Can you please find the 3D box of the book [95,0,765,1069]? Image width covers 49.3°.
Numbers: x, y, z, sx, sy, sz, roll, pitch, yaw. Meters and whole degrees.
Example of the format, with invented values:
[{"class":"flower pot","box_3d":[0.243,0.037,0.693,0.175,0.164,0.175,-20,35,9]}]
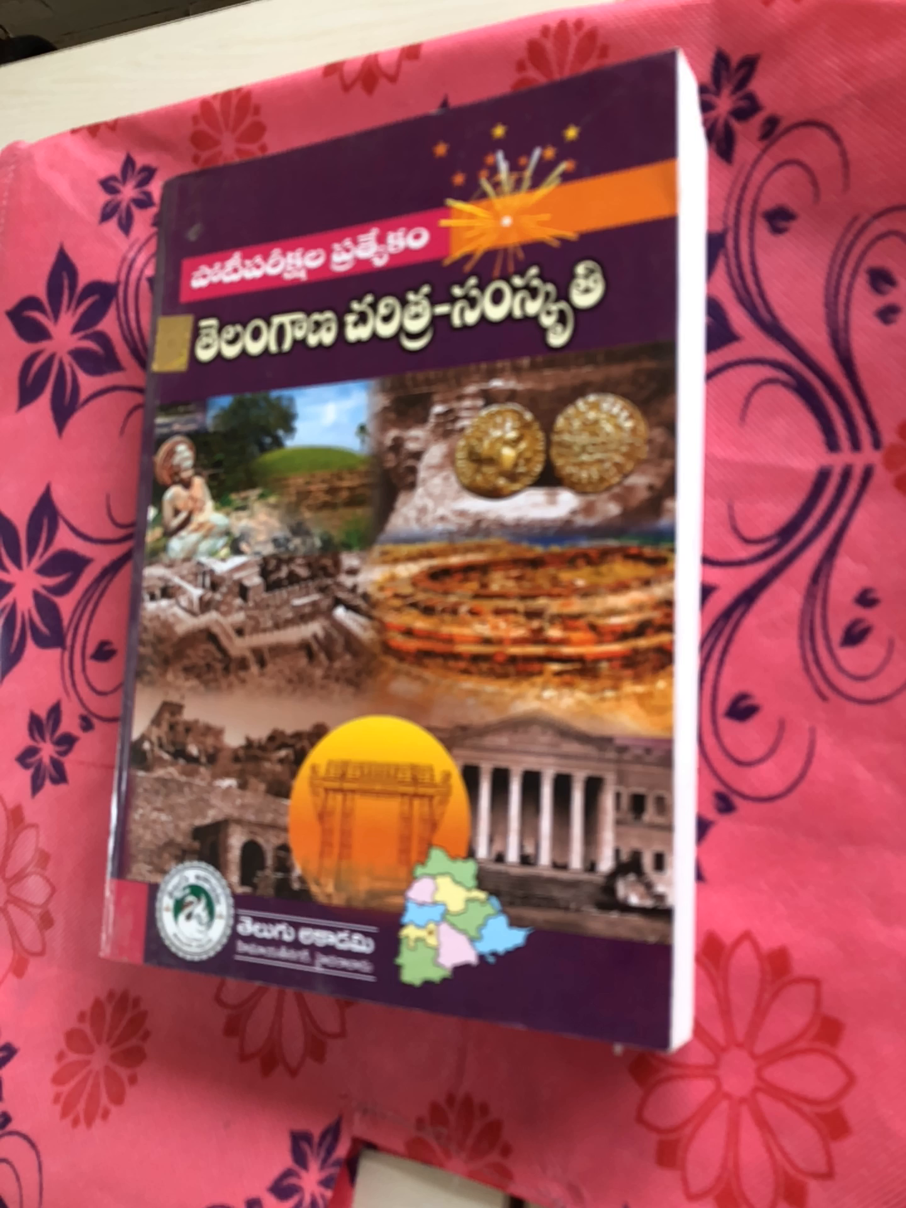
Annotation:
[{"class":"book","box_3d":[-0.008,-0.024,0.316,0.200,0.050,0.280,-1,82,24]}]
